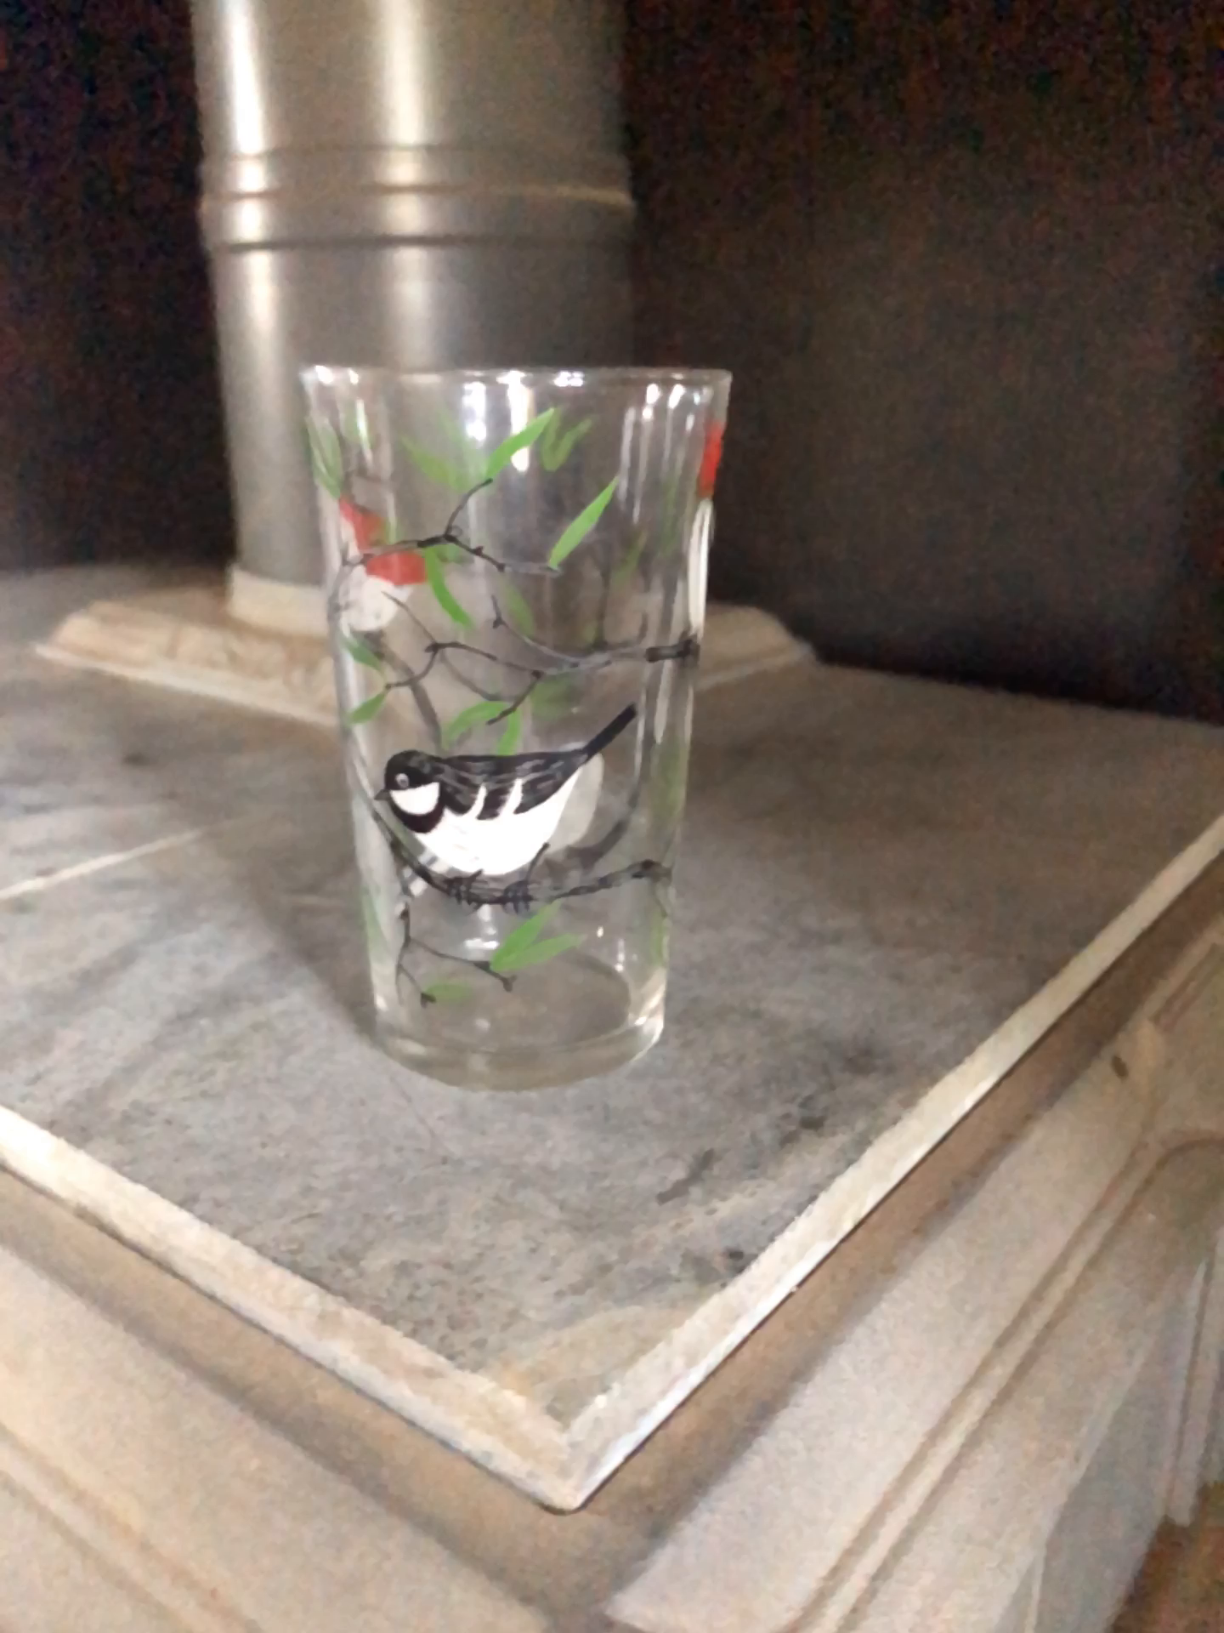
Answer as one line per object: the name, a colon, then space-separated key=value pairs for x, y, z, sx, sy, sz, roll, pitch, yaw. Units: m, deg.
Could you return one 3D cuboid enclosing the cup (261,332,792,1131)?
cup: x=-0.017 y=-0.020 z=0.226 sx=0.060 sy=0.110 sz=0.070 roll=-7 pitch=19 yaw=-23
